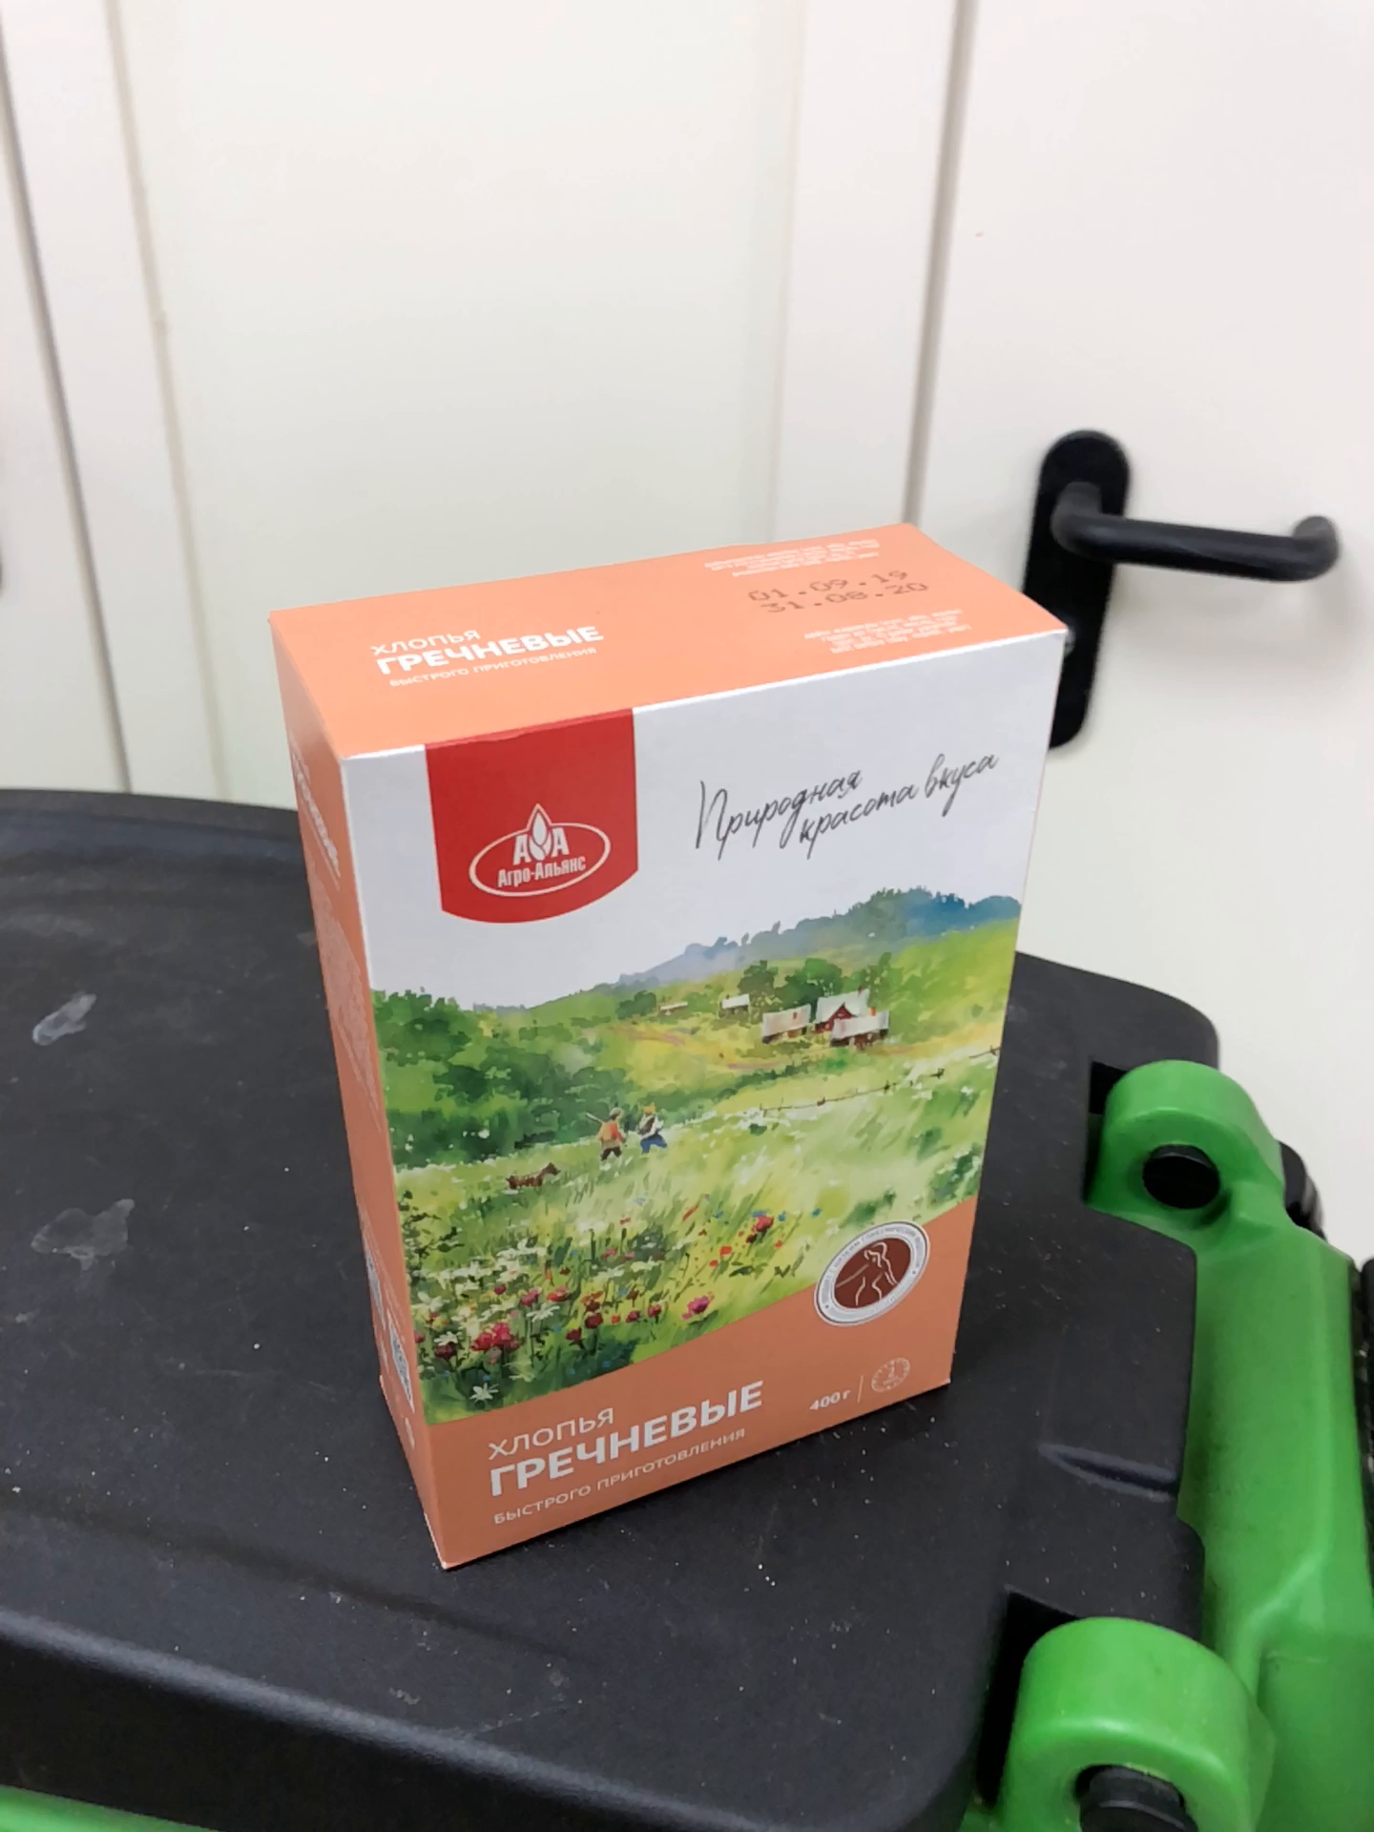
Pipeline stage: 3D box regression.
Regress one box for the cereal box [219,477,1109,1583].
[{"bbox_3d":[-0.007,0.028,0.318,0.140,0.209,0.060,-12,37,-21],"label":"cereal box"}]
